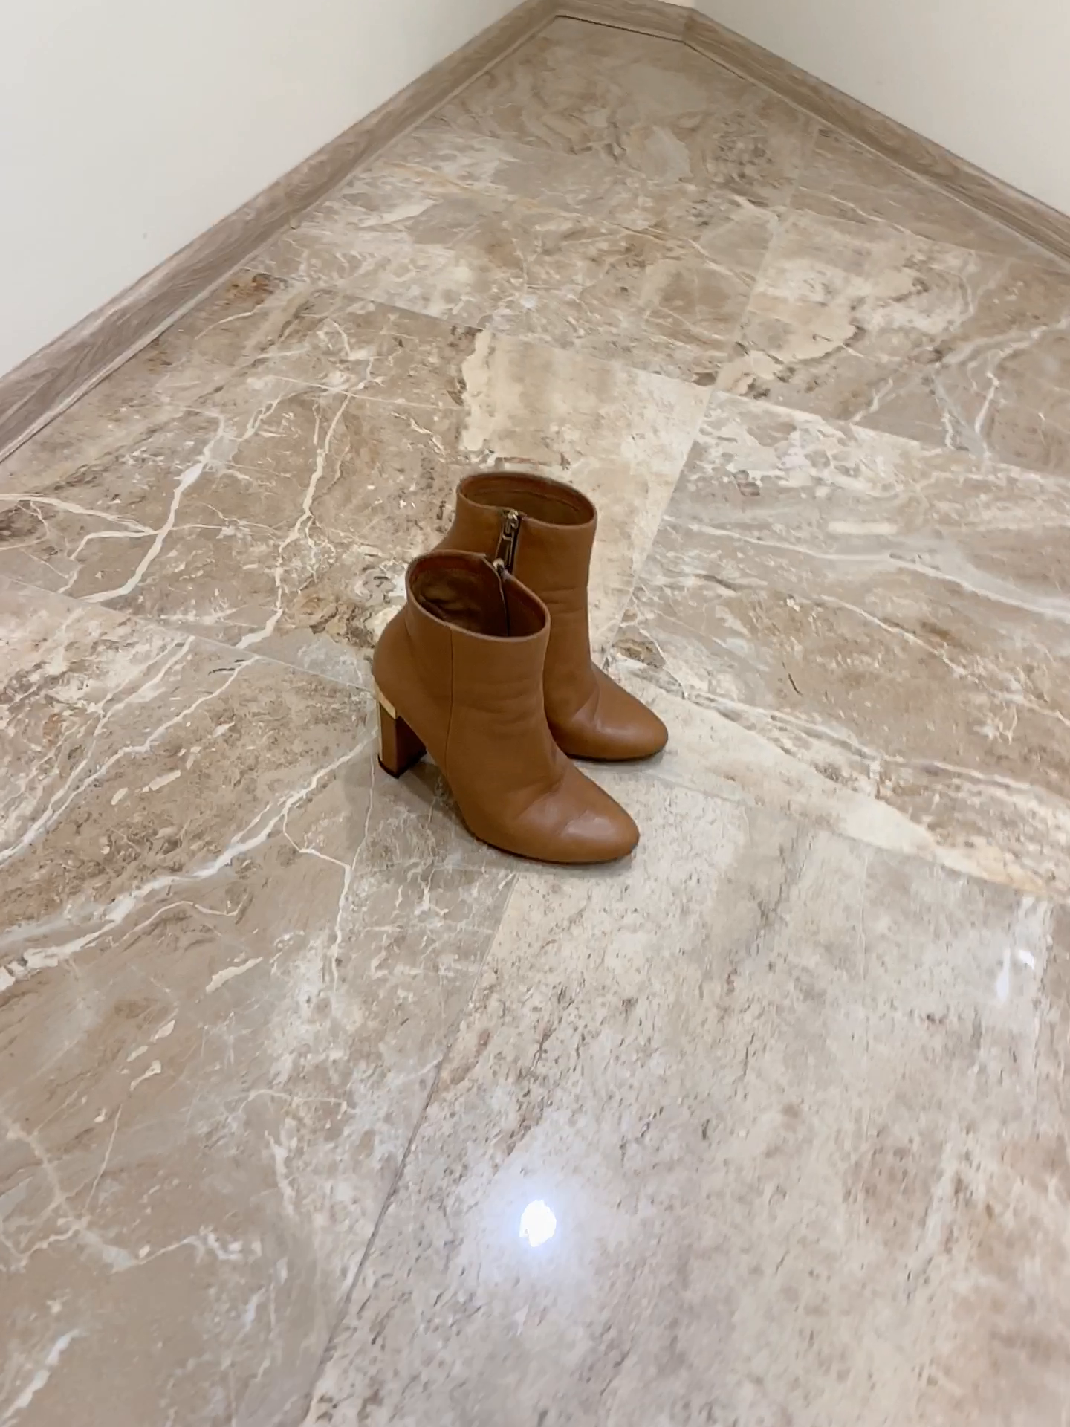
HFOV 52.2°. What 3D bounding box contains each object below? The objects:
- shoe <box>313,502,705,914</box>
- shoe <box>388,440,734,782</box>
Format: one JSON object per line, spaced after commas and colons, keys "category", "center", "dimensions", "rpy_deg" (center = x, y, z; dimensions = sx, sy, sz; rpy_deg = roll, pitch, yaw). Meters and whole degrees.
{"category": "shoe", "center": [-0.026, -0.002, 0.721], "dimensions": [0.220, 0.185, 0.090], "rpy_deg": [25, 47, 15]}
{"category": "shoe", "center": [0.012, -0.071, 0.783], "dimensions": [0.210, 0.175, 0.090], "rpy_deg": [17, 46, 7]}
